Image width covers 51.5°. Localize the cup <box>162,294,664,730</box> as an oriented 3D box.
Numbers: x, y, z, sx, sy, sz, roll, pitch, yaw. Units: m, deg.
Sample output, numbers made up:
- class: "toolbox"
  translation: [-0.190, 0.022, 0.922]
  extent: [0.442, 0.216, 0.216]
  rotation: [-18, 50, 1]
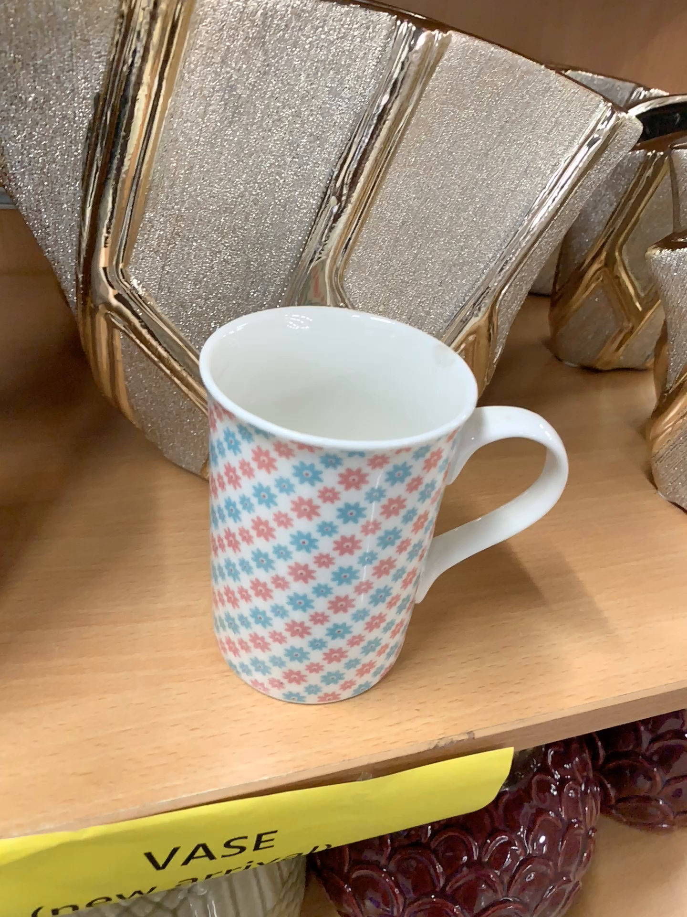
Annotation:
- class: "cup"
  translation: [0.010, 0.019, 0.230]
  extent: [0.120, 0.110, 0.080]
  rotation: [3, 34, -6]
